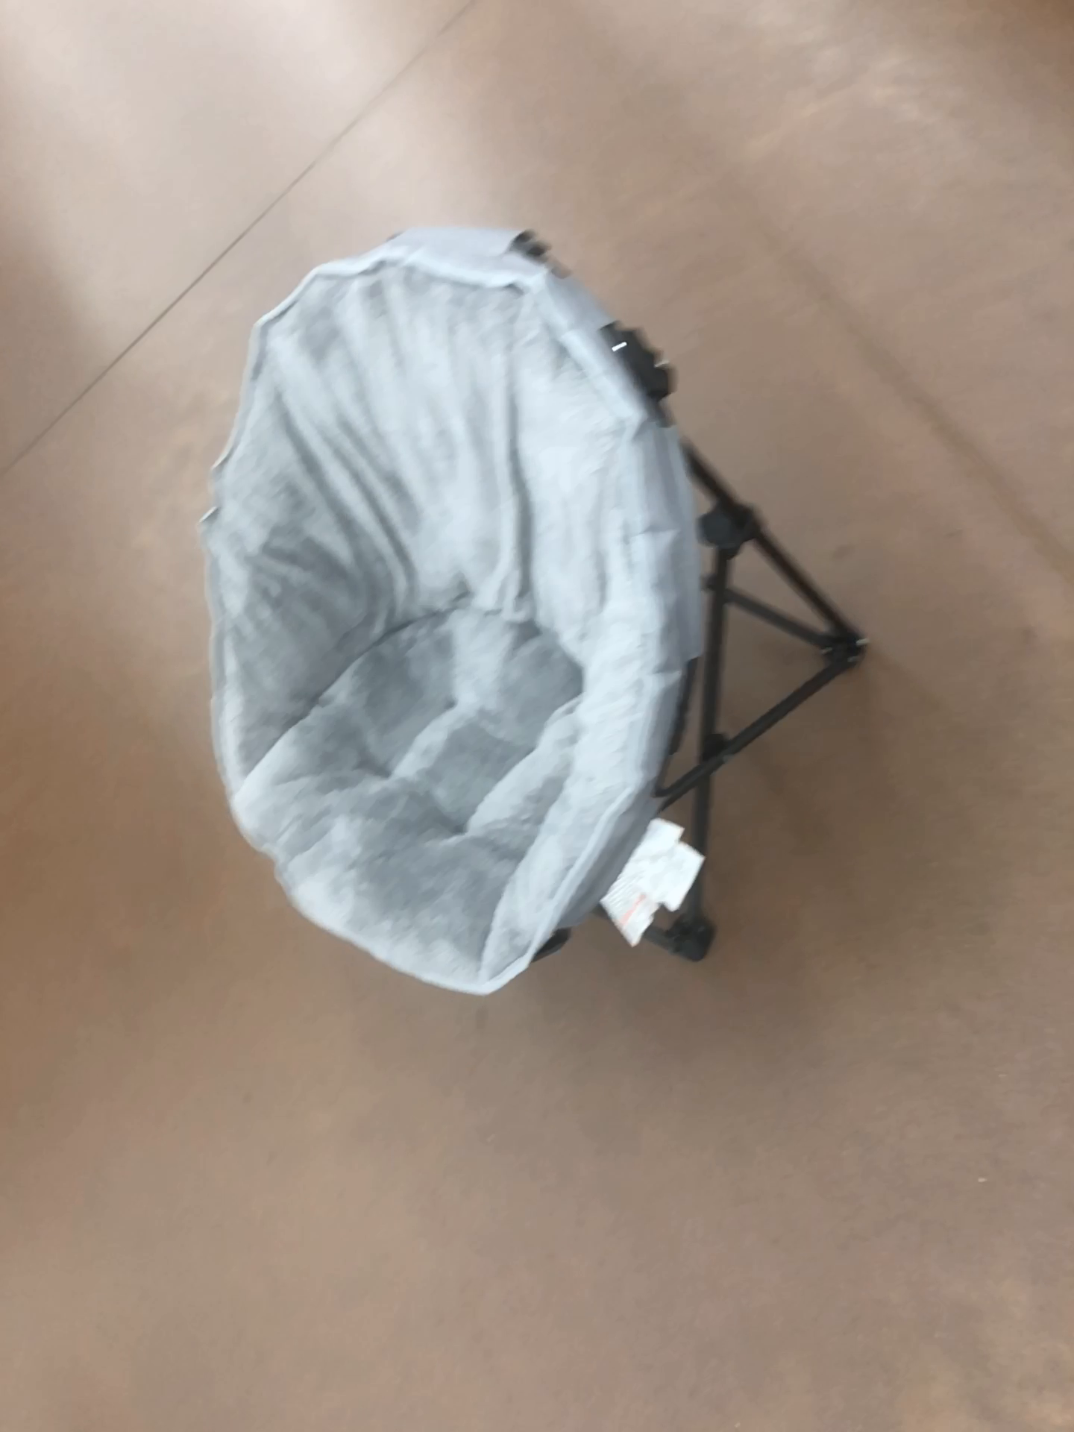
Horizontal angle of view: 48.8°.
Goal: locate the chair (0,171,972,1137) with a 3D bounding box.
[{"bbox_3d":[-0.054,-0.055,1.108,0.572,0.528,0.630,21,83,38],"label":"chair"}]
